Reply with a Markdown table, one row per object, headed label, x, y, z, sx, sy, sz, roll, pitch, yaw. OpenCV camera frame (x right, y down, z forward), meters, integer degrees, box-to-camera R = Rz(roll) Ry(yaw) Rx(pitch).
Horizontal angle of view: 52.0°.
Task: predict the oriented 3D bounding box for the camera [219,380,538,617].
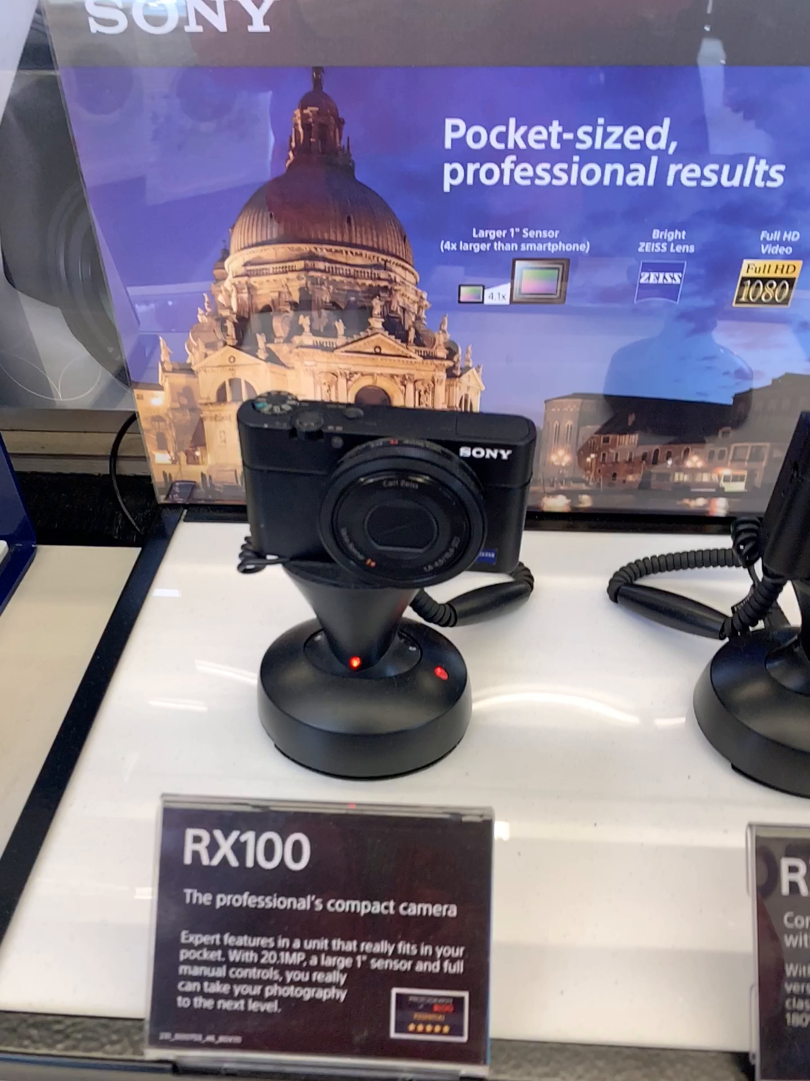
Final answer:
| label | x | y | z | sx | sy | sz | roll | pitch | yaw |
| --- | --- | --- | --- | --- | --- | --- | --- | --- | --- |
| camera | -0.007 | -0.015 | 0.296 | 0.100 | 0.069 | 0.040 | 3 | 39 | 4 |
